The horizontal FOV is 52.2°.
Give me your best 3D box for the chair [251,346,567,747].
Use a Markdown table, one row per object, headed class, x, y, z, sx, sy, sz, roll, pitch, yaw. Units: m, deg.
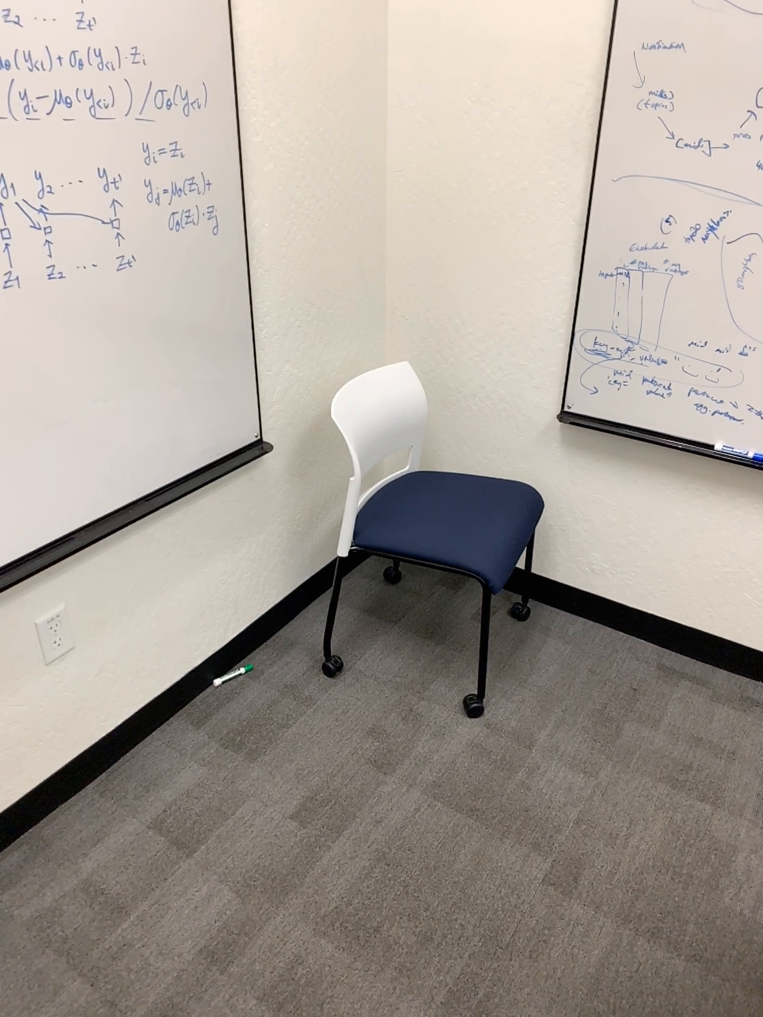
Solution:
| class | x | y | z | sx | sy | sz | roll | pitch | yaw |
| --- | --- | --- | --- | --- | --- | --- | --- | --- | --- |
| chair | 0.102 | 0.064 | 2.321 | 0.641 | 0.835 | 0.703 | 13 | 31 | 21 |
